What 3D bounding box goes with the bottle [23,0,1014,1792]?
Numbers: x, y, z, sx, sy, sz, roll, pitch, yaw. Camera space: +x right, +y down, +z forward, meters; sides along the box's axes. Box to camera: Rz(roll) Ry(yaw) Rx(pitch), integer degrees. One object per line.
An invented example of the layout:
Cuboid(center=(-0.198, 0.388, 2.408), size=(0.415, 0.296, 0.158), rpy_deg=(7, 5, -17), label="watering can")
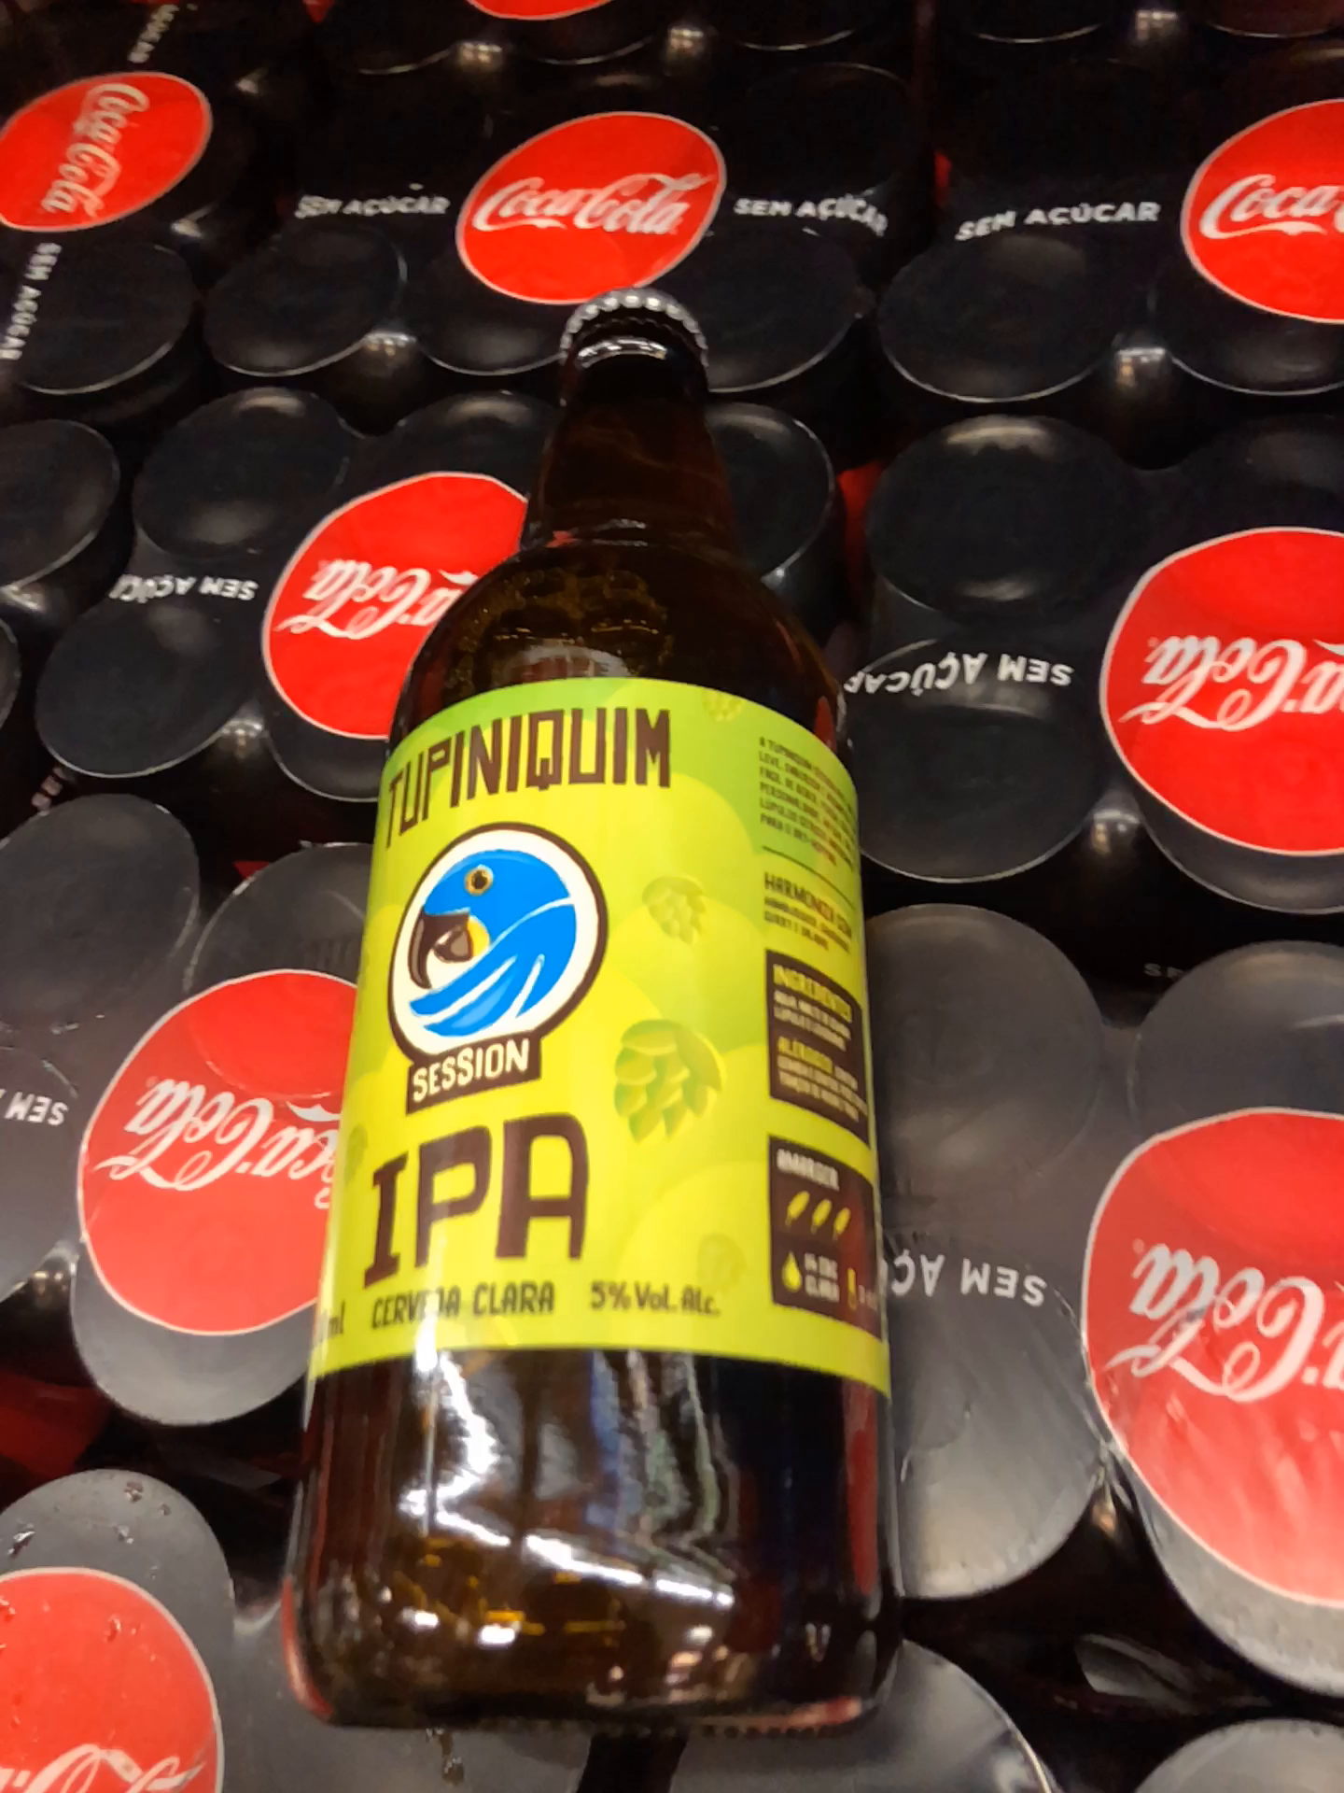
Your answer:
Cuboid(center=(-0.009, -0.017, 0.224), size=(0.090, 0.070, 0.261), rpy_deg=(-6, 61, 11), label="bottle")
